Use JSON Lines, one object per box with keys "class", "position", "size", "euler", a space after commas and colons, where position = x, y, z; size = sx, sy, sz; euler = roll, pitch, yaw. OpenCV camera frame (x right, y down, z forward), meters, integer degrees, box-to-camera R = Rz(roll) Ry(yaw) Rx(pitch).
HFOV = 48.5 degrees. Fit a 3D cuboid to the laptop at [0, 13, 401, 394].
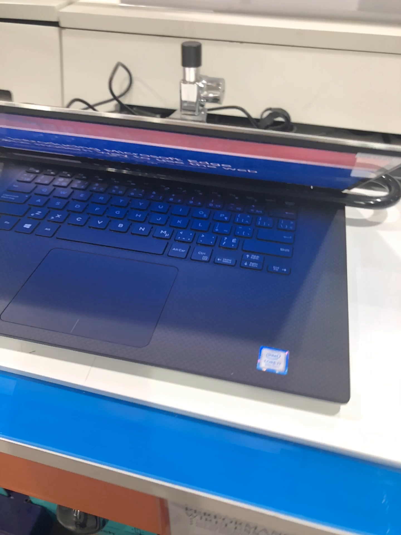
{"class": "laptop", "position": [-0.061, -0.072, 0.318], "size": [0.345, 0.133, 0.217], "euler": [9, 42, 8]}
